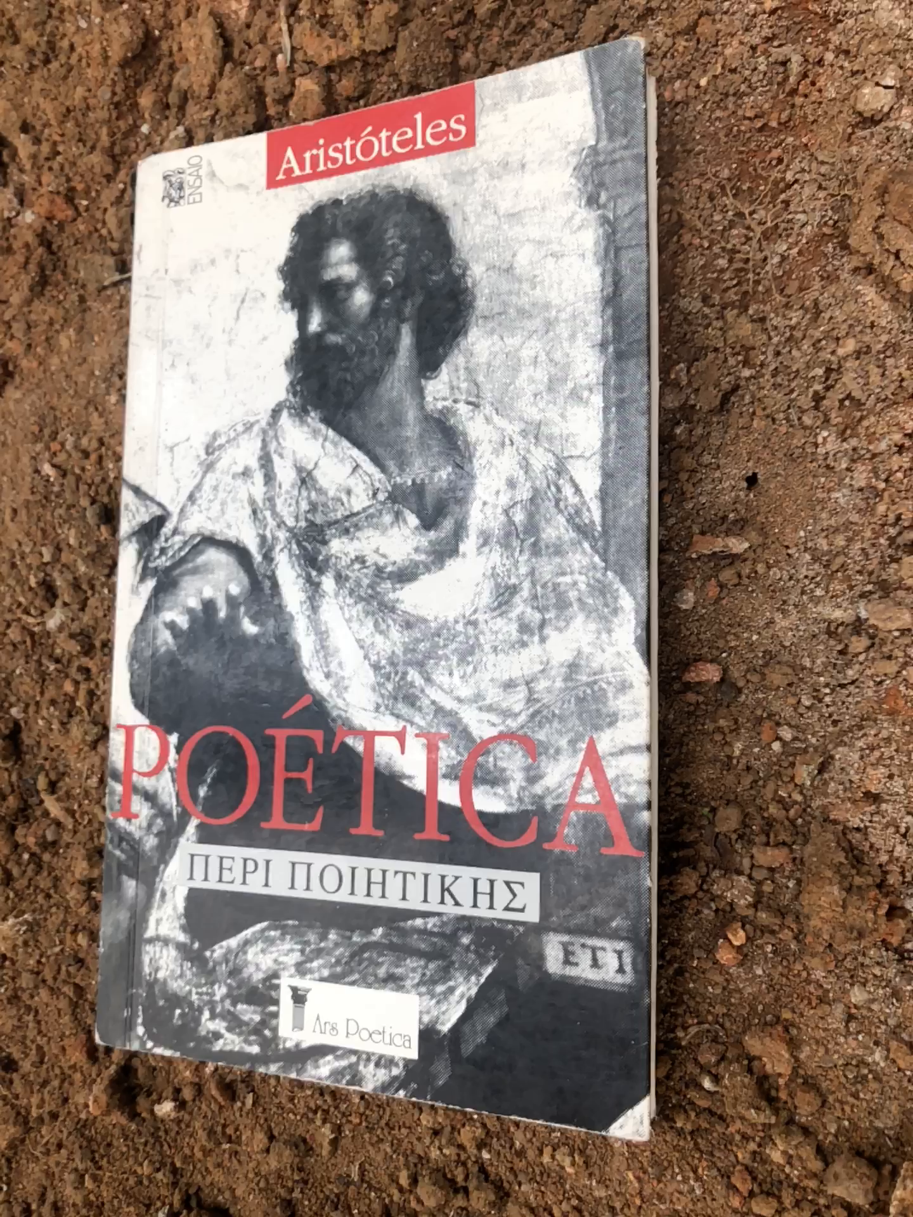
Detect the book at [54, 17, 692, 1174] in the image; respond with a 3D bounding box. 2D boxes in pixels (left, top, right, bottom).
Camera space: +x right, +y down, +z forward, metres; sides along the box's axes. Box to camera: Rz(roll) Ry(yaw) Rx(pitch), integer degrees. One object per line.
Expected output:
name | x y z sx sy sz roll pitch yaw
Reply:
book | -0.022 -0.004 0.201 0.130 0.015 0.189 -2 85 25
